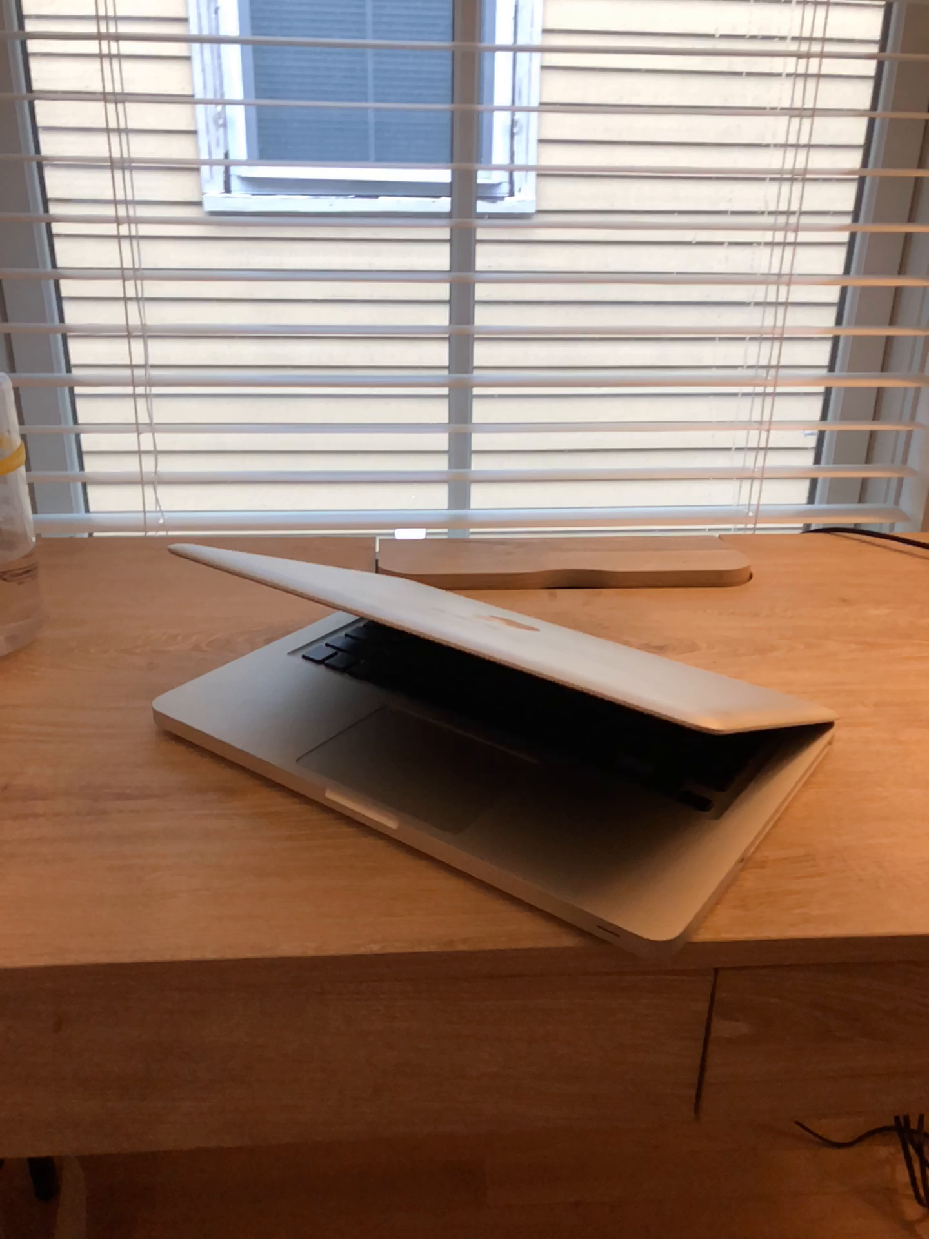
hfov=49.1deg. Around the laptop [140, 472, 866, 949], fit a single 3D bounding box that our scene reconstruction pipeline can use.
[{"bbox_3d":[0.020,0.014,0.561,0.318,0.089,0.229,17,28,32],"label":"laptop"}]
